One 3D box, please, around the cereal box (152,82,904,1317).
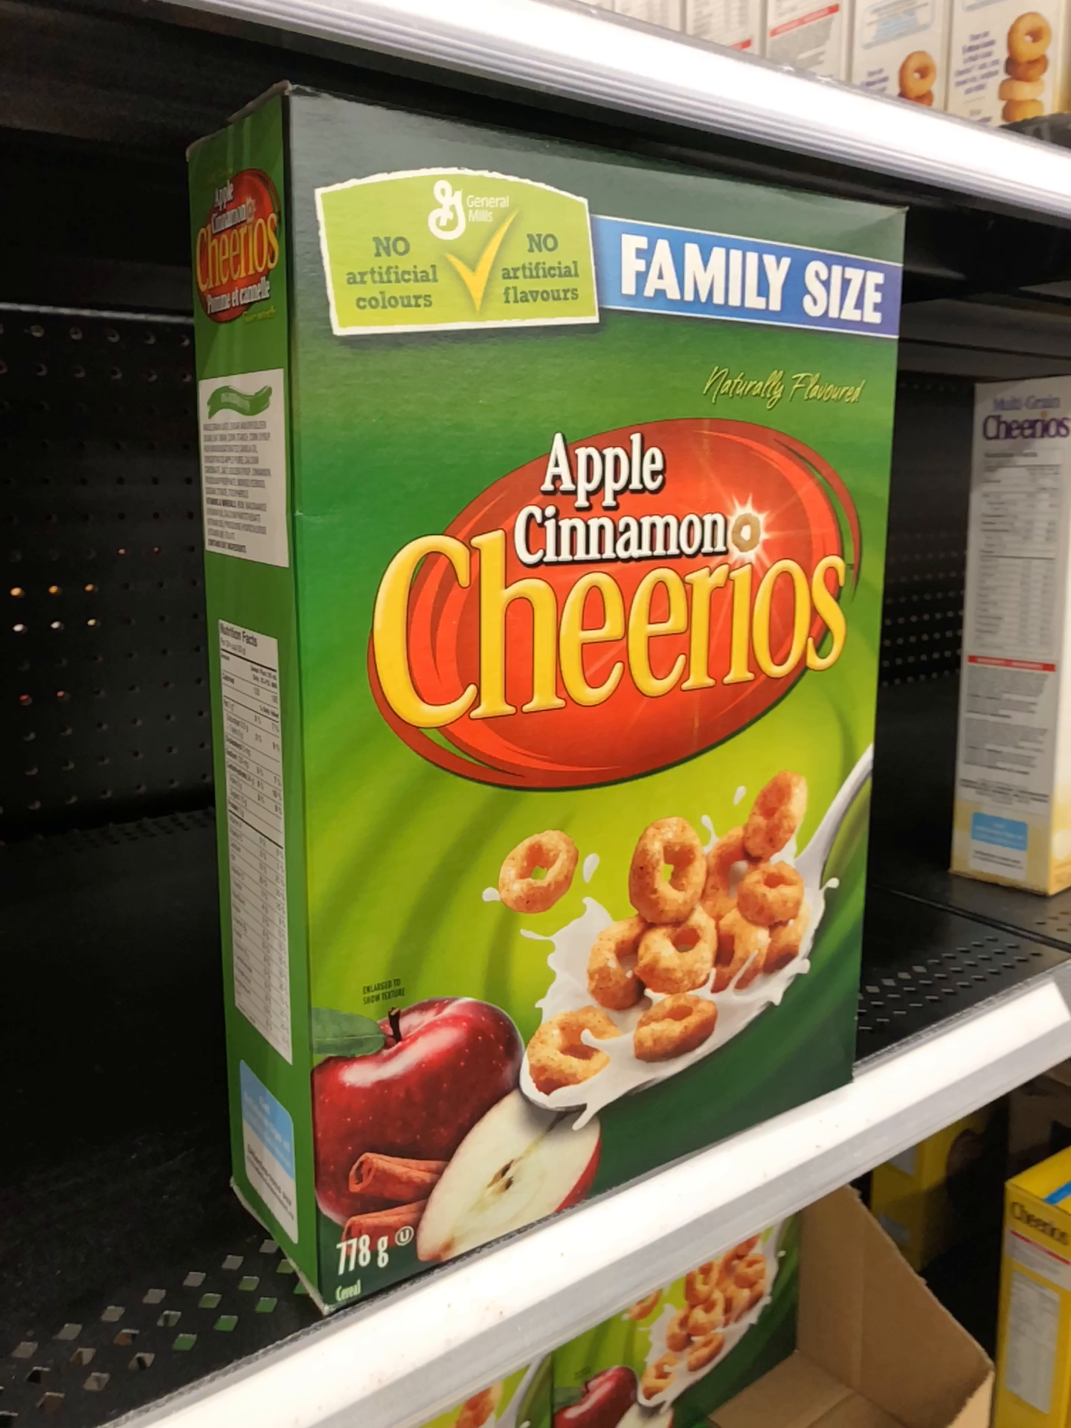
[{"bbox_3d":[0.010,-0.009,0.411,0.240,0.329,0.080,-8,13,-35],"label":"cereal box"}]
